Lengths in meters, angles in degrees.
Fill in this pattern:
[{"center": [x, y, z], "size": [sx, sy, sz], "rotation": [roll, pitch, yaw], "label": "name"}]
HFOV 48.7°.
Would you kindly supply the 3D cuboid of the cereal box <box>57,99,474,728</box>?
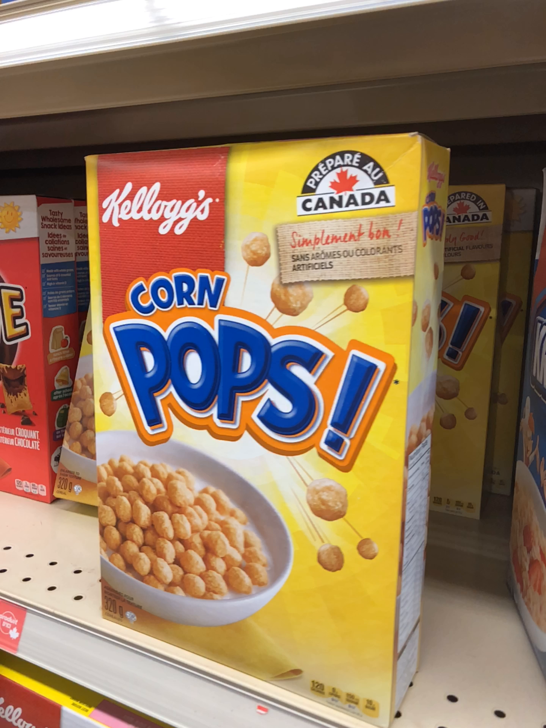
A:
[{"center": [-0.012, 0.022, 0.337], "size": [0.210, 0.289, 0.060], "rotation": [7, 14, 28], "label": "cereal box"}]
